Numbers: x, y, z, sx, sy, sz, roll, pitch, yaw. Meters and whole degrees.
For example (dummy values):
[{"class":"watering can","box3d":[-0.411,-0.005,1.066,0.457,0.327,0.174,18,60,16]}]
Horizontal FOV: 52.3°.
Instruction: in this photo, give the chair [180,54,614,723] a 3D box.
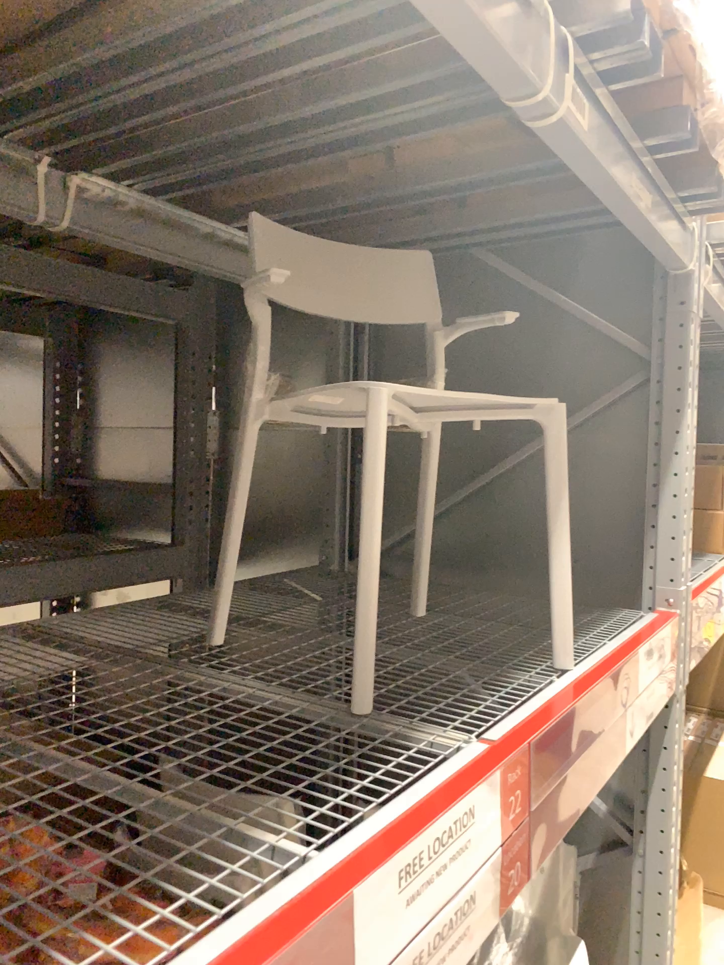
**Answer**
[{"class":"chair","box3d":[0.036,-0.124,1.270,0.480,0.820,0.550,0,2,-37]}]
